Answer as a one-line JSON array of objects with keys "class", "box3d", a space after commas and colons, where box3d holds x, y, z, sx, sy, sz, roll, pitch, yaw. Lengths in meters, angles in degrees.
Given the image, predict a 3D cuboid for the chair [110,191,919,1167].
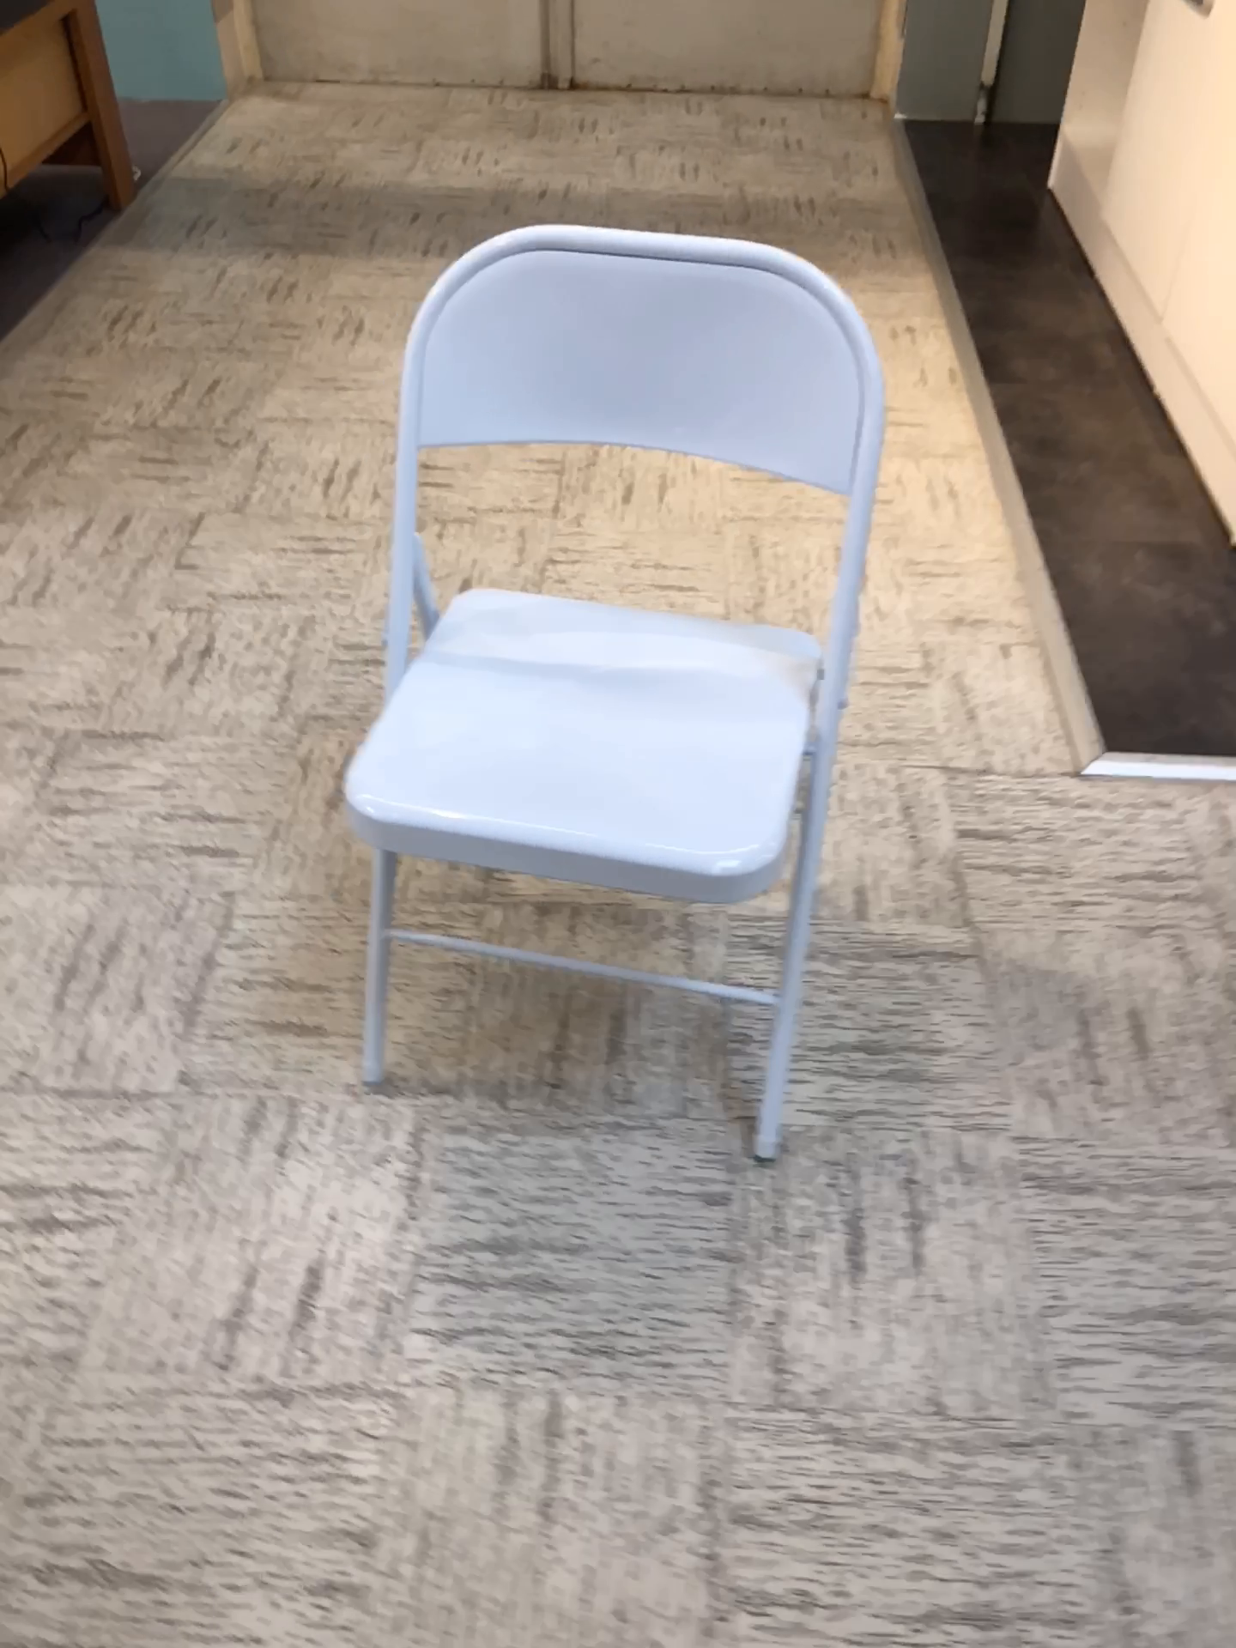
[{"class": "chair", "box3d": [-0.042, -0.127, 1.279, 0.510, 0.706, 0.483, 9, 43, 9]}]
